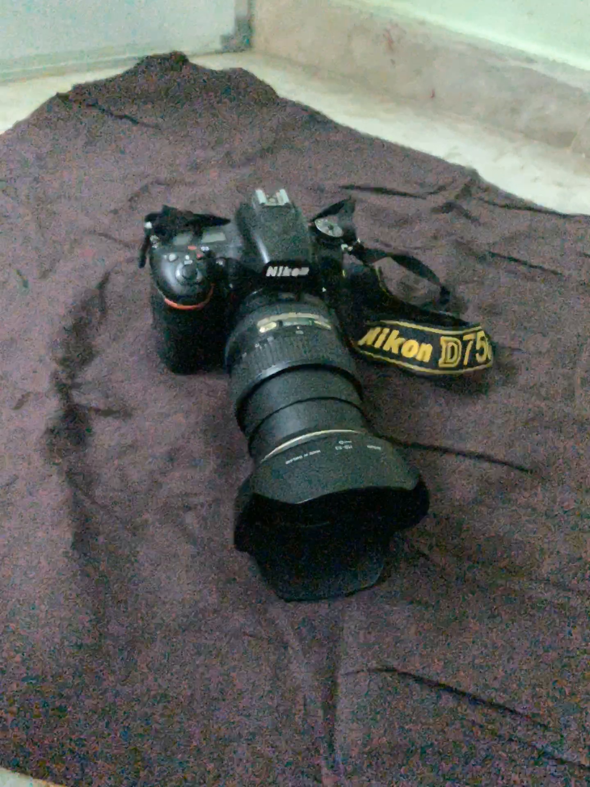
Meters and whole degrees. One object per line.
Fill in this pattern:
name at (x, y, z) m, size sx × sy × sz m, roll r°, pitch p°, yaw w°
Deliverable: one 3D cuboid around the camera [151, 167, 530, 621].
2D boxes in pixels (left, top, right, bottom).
camera at (-0.002, -0.022, 0.392) m, size 0.161 × 0.100 × 0.279 m, roll -3°, pitch 50°, yaw -14°
